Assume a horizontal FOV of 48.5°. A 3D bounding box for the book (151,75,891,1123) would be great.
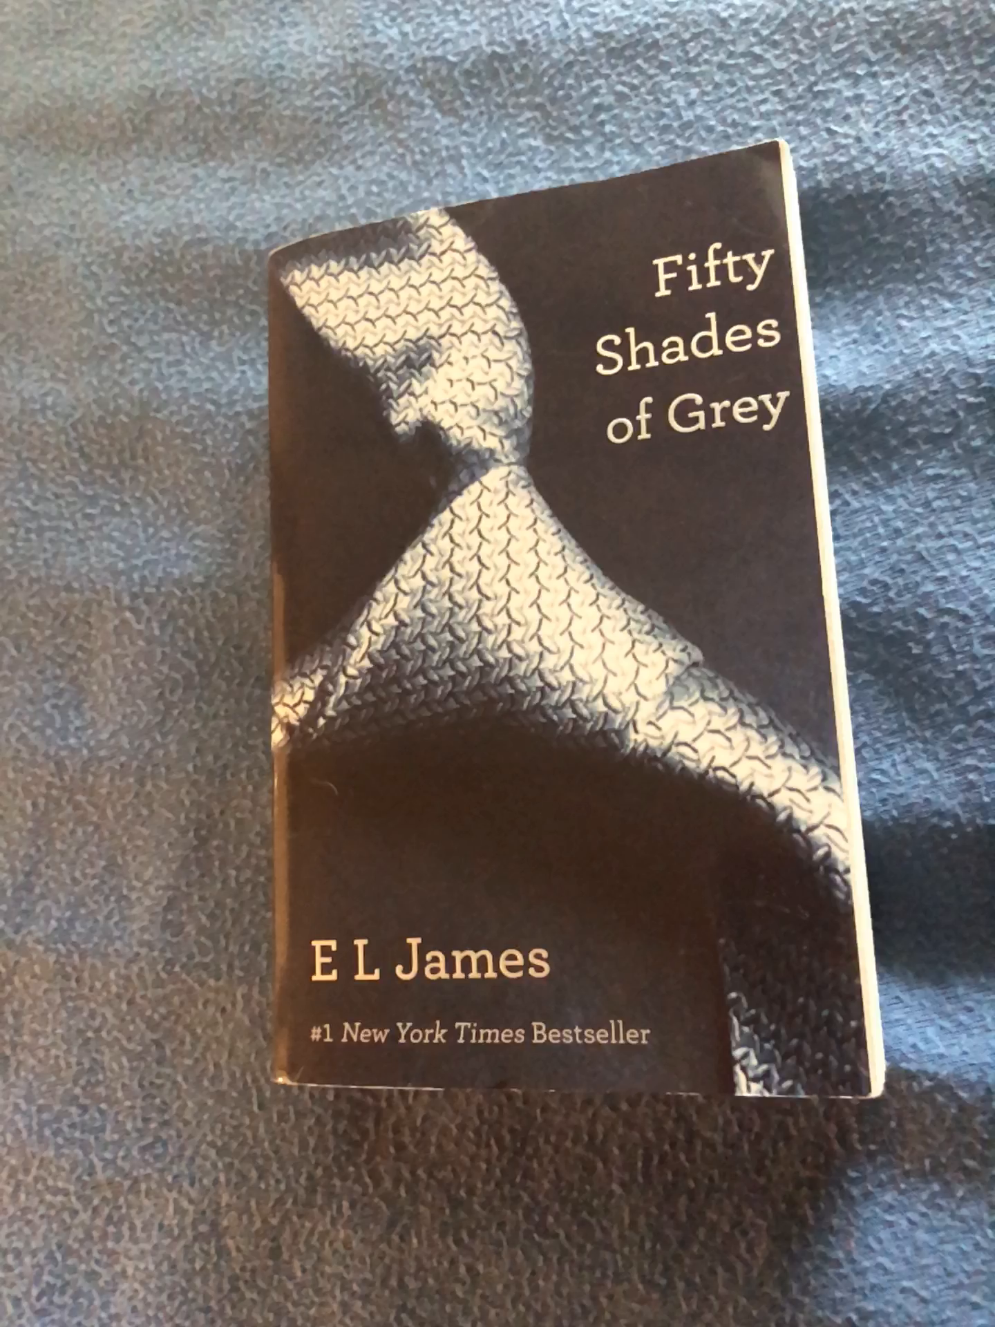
[{"bbox_3d":[0.000,-0.012,0.255,0.150,0.040,0.210,-6,77,18],"label":"book"}]
